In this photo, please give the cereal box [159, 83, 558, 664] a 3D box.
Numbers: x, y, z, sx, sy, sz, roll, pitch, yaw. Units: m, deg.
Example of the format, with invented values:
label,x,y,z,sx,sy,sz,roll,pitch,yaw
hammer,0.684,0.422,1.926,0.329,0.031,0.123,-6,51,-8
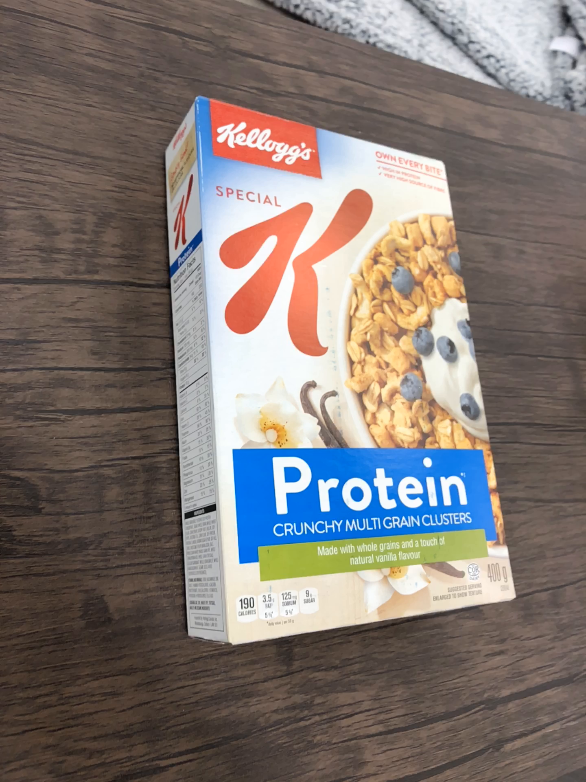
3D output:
label,x,y,z,sx,sy,sz,roll,pitch,yaw
cereal box,0.031,-0.012,0.343,0.181,0.050,0.260,2,73,-28
